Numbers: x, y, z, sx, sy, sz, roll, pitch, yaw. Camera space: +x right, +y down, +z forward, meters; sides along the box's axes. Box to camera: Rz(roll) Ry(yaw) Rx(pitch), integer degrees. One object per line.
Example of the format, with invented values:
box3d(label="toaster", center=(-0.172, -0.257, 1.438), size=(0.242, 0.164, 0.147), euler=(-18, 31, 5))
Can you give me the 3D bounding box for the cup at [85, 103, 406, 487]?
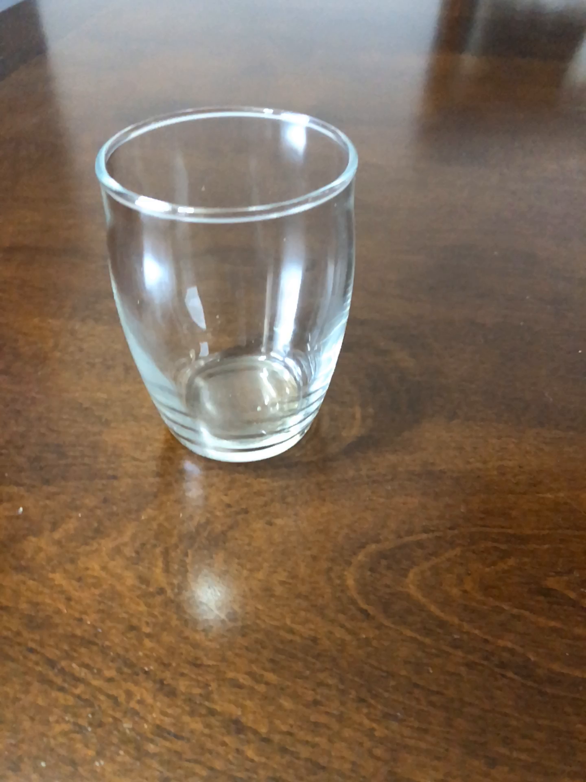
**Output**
box3d(label="cup", center=(-0.014, -0.025, 0.168), size=(0.060, 0.070, 0.060), euler=(1, 42, -1))
